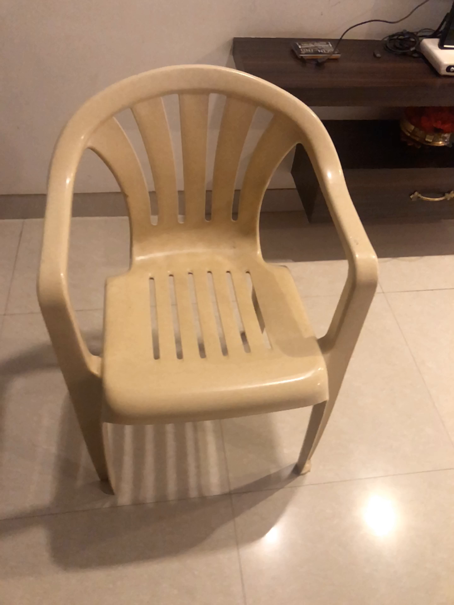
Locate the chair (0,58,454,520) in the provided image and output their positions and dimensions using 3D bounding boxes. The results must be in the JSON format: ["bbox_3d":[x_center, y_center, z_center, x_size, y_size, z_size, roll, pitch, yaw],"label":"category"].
[{"bbox_3d":[-0.052,-0.005,1.086,0.570,0.775,0.594,-5,49,-9],"label":"chair"}]
